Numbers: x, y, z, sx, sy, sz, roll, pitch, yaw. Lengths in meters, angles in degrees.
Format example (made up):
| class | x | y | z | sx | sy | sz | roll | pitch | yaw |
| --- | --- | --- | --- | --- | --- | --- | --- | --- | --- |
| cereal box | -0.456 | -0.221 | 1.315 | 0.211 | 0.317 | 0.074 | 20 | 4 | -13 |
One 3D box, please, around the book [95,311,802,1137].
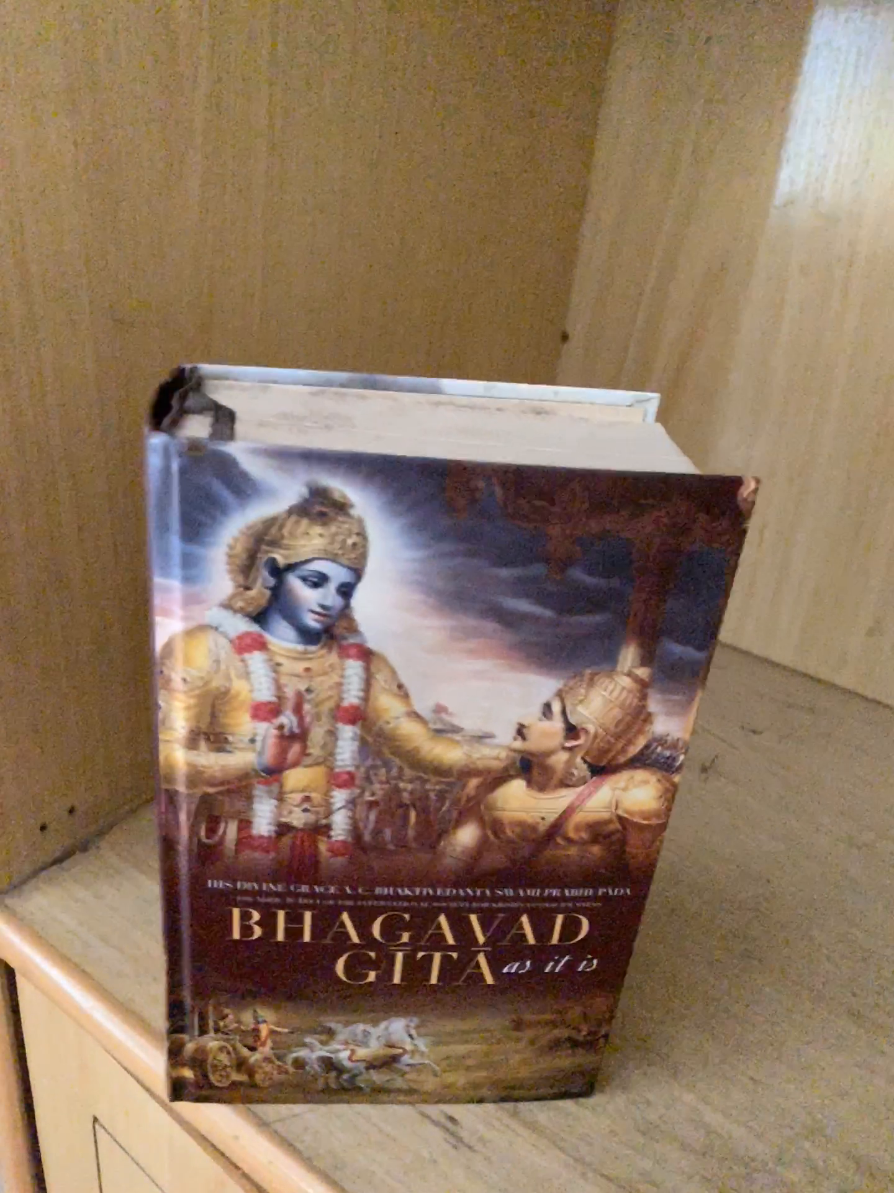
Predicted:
| class | x | y | z | sx | sy | sz | roll | pitch | yaw |
| --- | --- | --- | --- | --- | --- | --- | --- | --- | --- |
| book | -0.011 | 0.045 | 0.260 | 0.140 | 0.218 | 0.071 | 4 | 25 | -7 |
